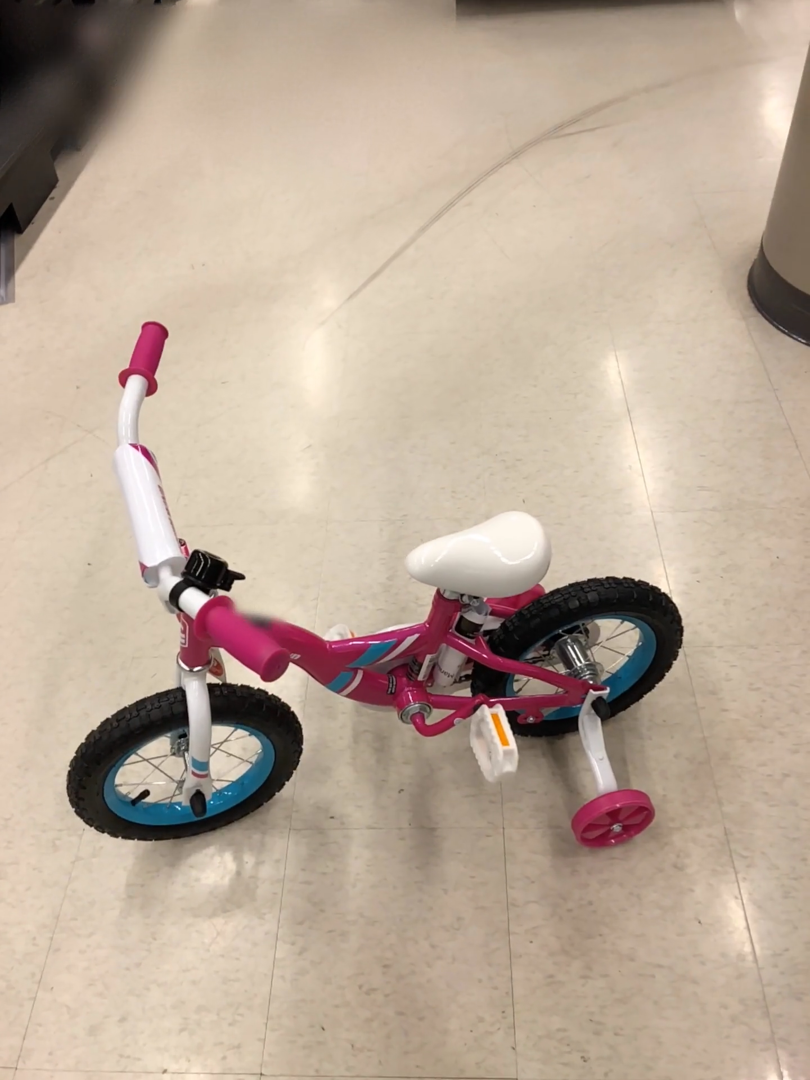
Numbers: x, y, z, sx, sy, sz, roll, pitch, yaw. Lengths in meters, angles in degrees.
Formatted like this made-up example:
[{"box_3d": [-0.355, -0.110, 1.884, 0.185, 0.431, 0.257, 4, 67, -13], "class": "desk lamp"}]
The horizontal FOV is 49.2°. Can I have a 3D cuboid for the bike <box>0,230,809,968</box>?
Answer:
[{"box_3d": [-0.045, 0.072, 1.066, 0.814, 0.625, 0.463, -12, 47, -10], "class": "bike"}]
